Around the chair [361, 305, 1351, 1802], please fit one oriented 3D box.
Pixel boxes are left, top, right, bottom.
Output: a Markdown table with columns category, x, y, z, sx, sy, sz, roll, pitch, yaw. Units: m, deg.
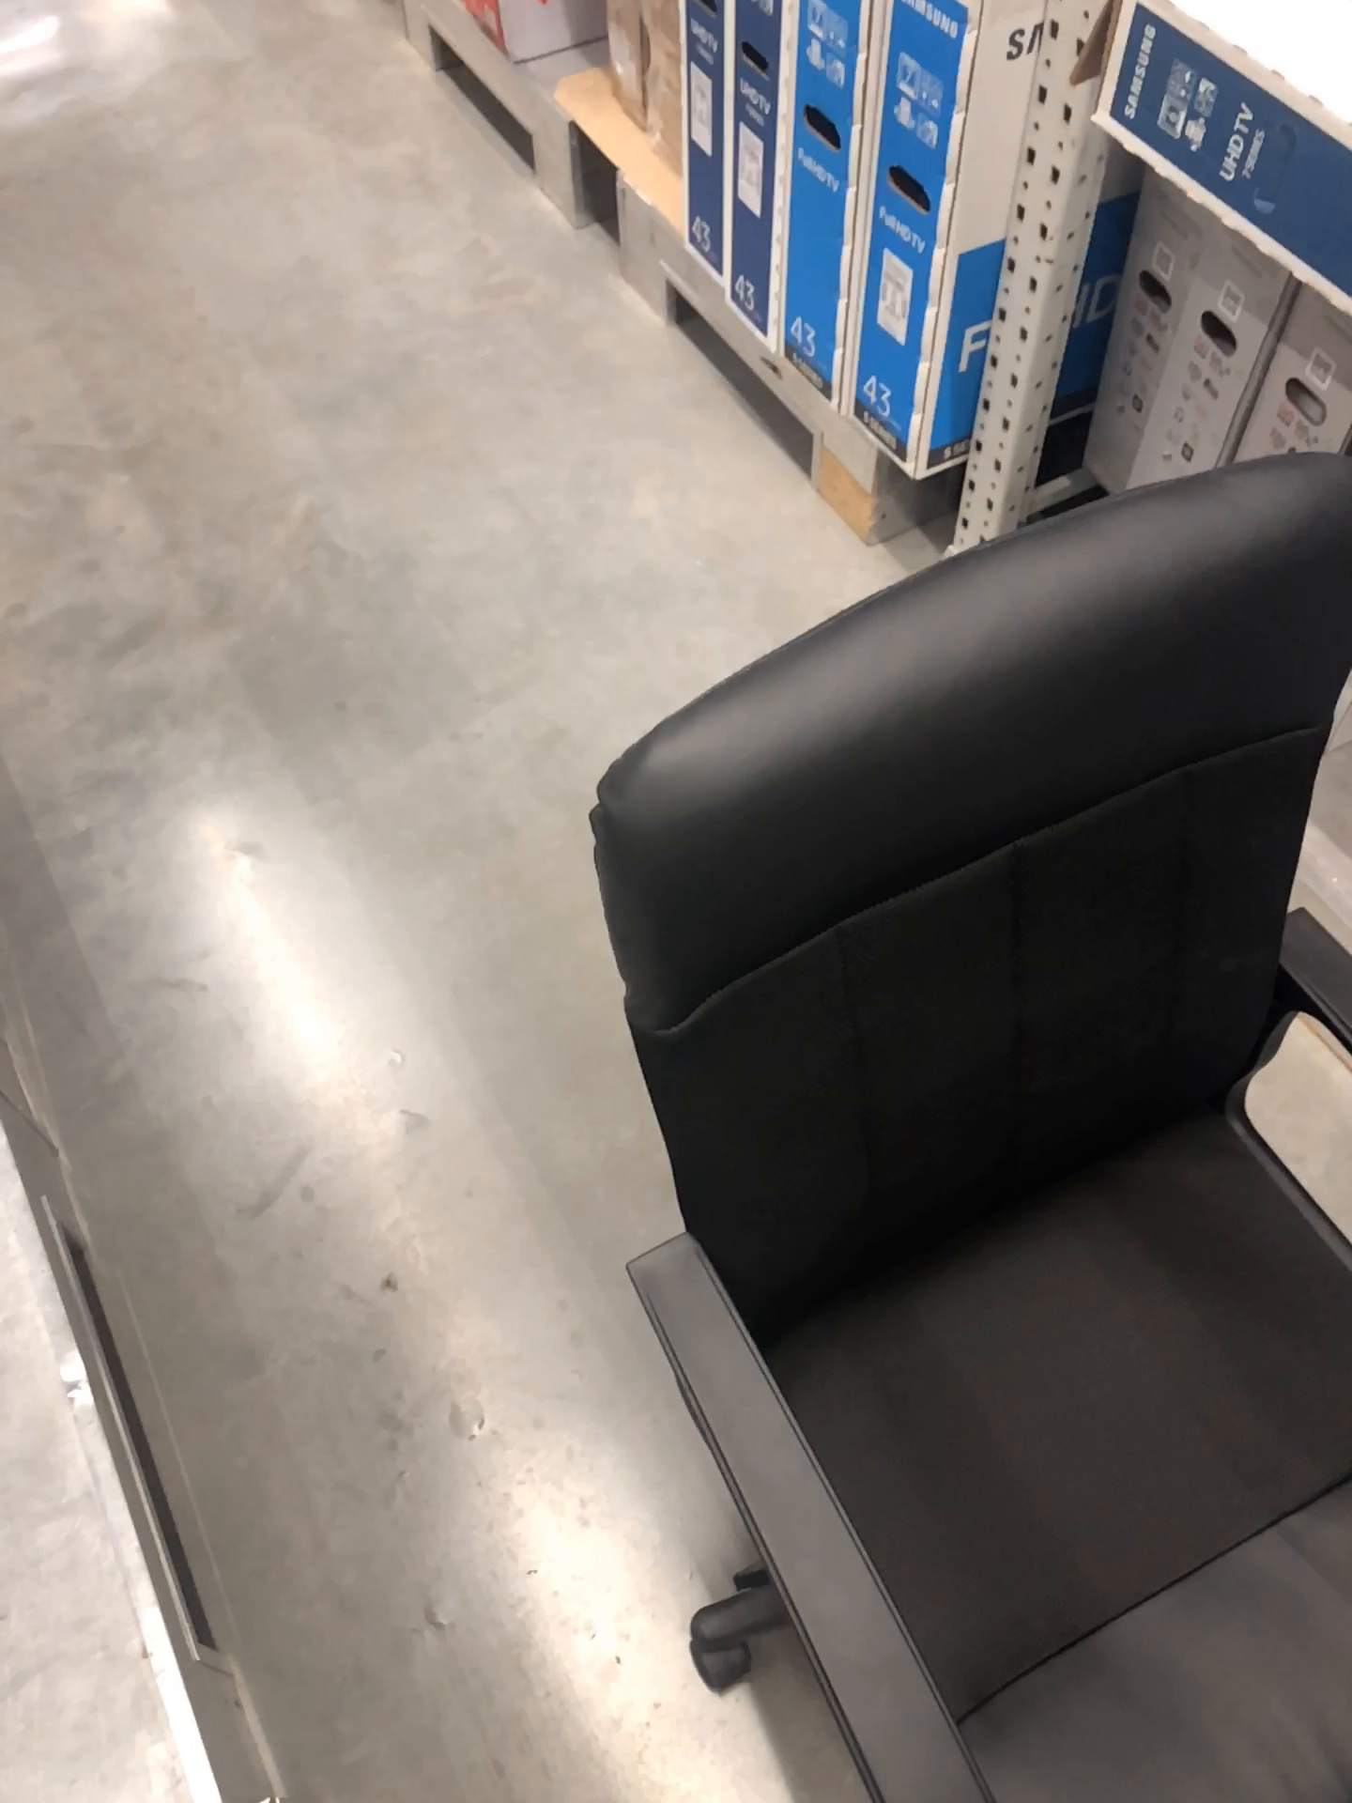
| category | x | y | z | sx | sy | sz | roll | pitch | yaw |
| --- | --- | --- | --- | --- | --- | --- | --- | --- | --- |
| chair | 0.313 | 0.345 | 1.050 | 0.651 | 1.125 | 0.632 | -26 | 60 | -15 |
